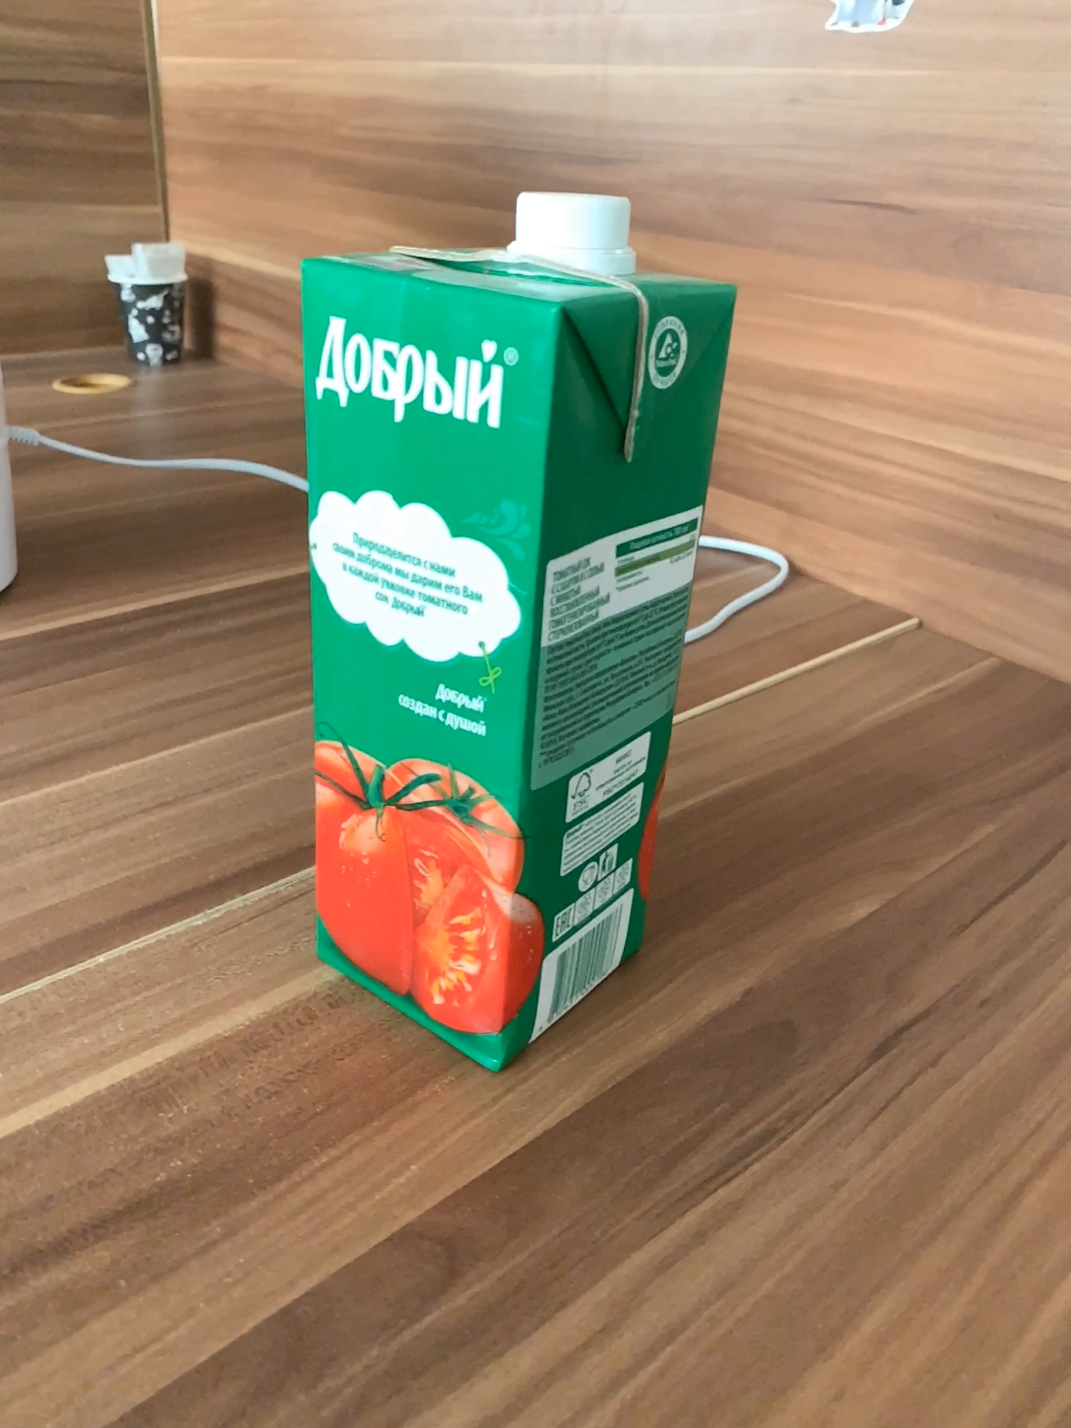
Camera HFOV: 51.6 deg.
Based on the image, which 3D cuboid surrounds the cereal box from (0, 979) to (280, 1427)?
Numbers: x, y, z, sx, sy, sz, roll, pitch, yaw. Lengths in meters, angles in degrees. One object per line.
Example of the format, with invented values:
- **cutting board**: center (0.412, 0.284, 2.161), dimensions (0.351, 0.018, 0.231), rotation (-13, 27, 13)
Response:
- **cereal box**: center (-0.467, 0.629, 0.236), dimensions (0.590, 0.836, 0.613), rotation (7, 28, 7)
